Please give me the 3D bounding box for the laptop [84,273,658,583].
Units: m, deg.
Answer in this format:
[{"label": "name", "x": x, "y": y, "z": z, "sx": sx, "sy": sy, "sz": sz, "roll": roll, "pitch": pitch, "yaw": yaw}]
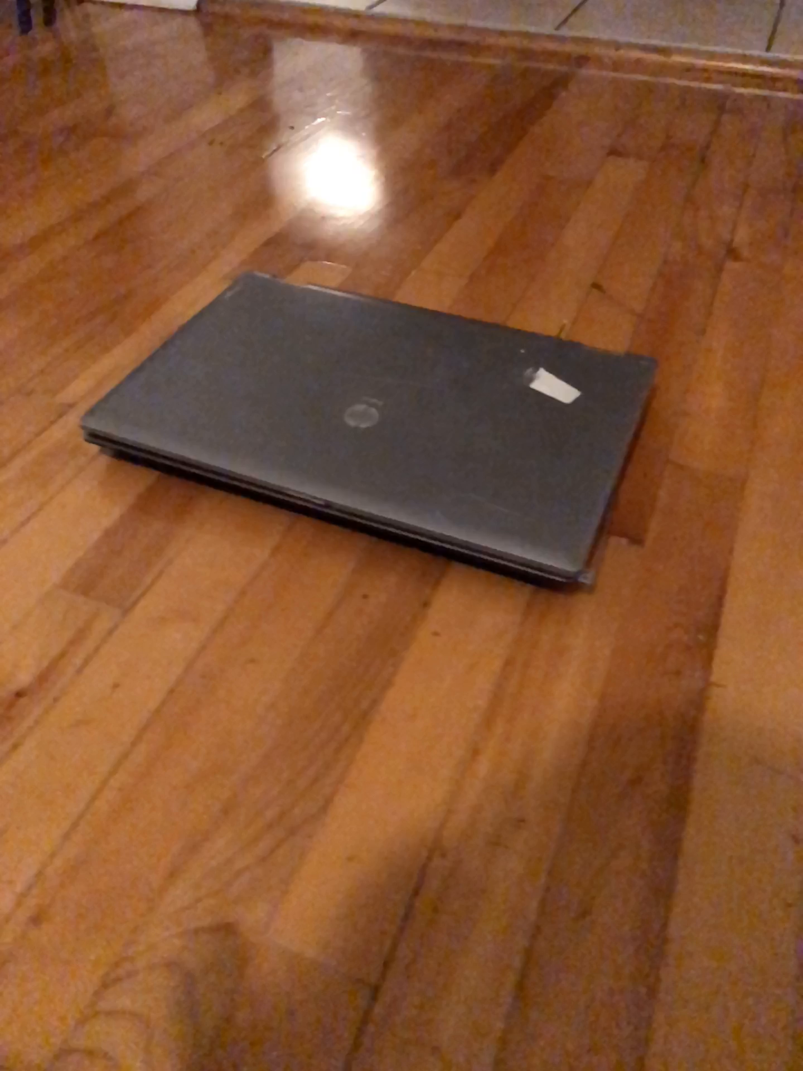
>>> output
[{"label": "laptop", "x": -0.014, "y": -0.103, "z": 0.666, "sx": 0.363, "sy": 0.010, "sz": 0.241, "roll": 16, "pitch": 48, "yaw": 16}]
